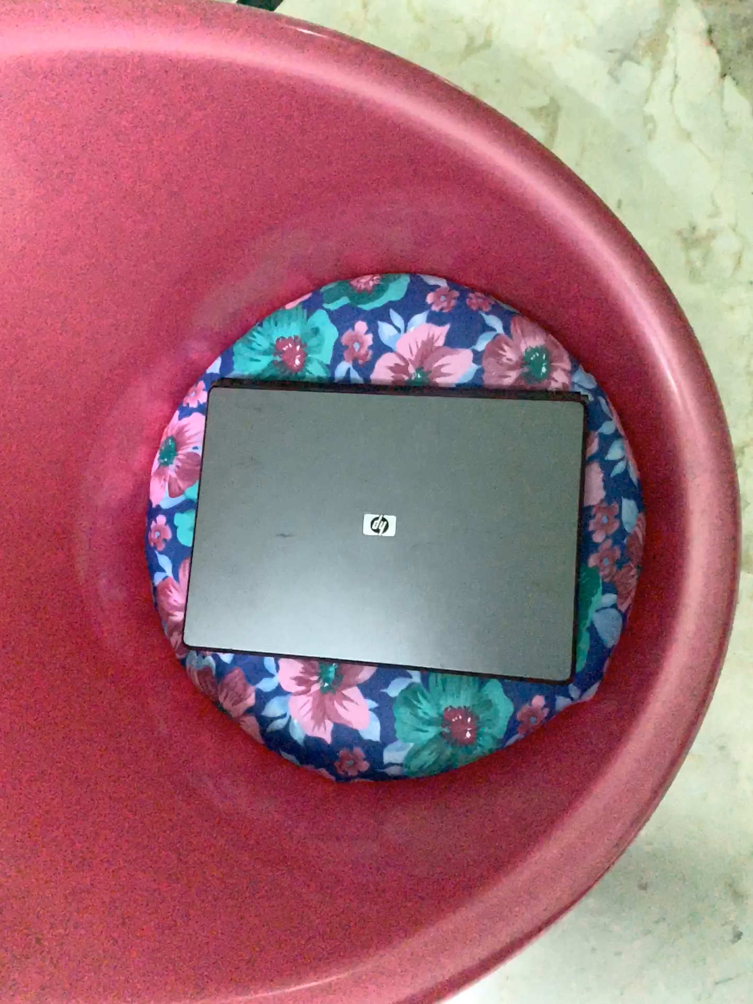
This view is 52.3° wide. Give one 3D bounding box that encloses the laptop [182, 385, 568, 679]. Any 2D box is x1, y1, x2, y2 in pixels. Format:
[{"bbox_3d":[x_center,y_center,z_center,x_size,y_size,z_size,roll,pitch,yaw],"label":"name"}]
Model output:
[{"bbox_3d":[-0.002,0.020,0.628,0.303,0.003,0.222,3,85,6],"label":"laptop"}]
